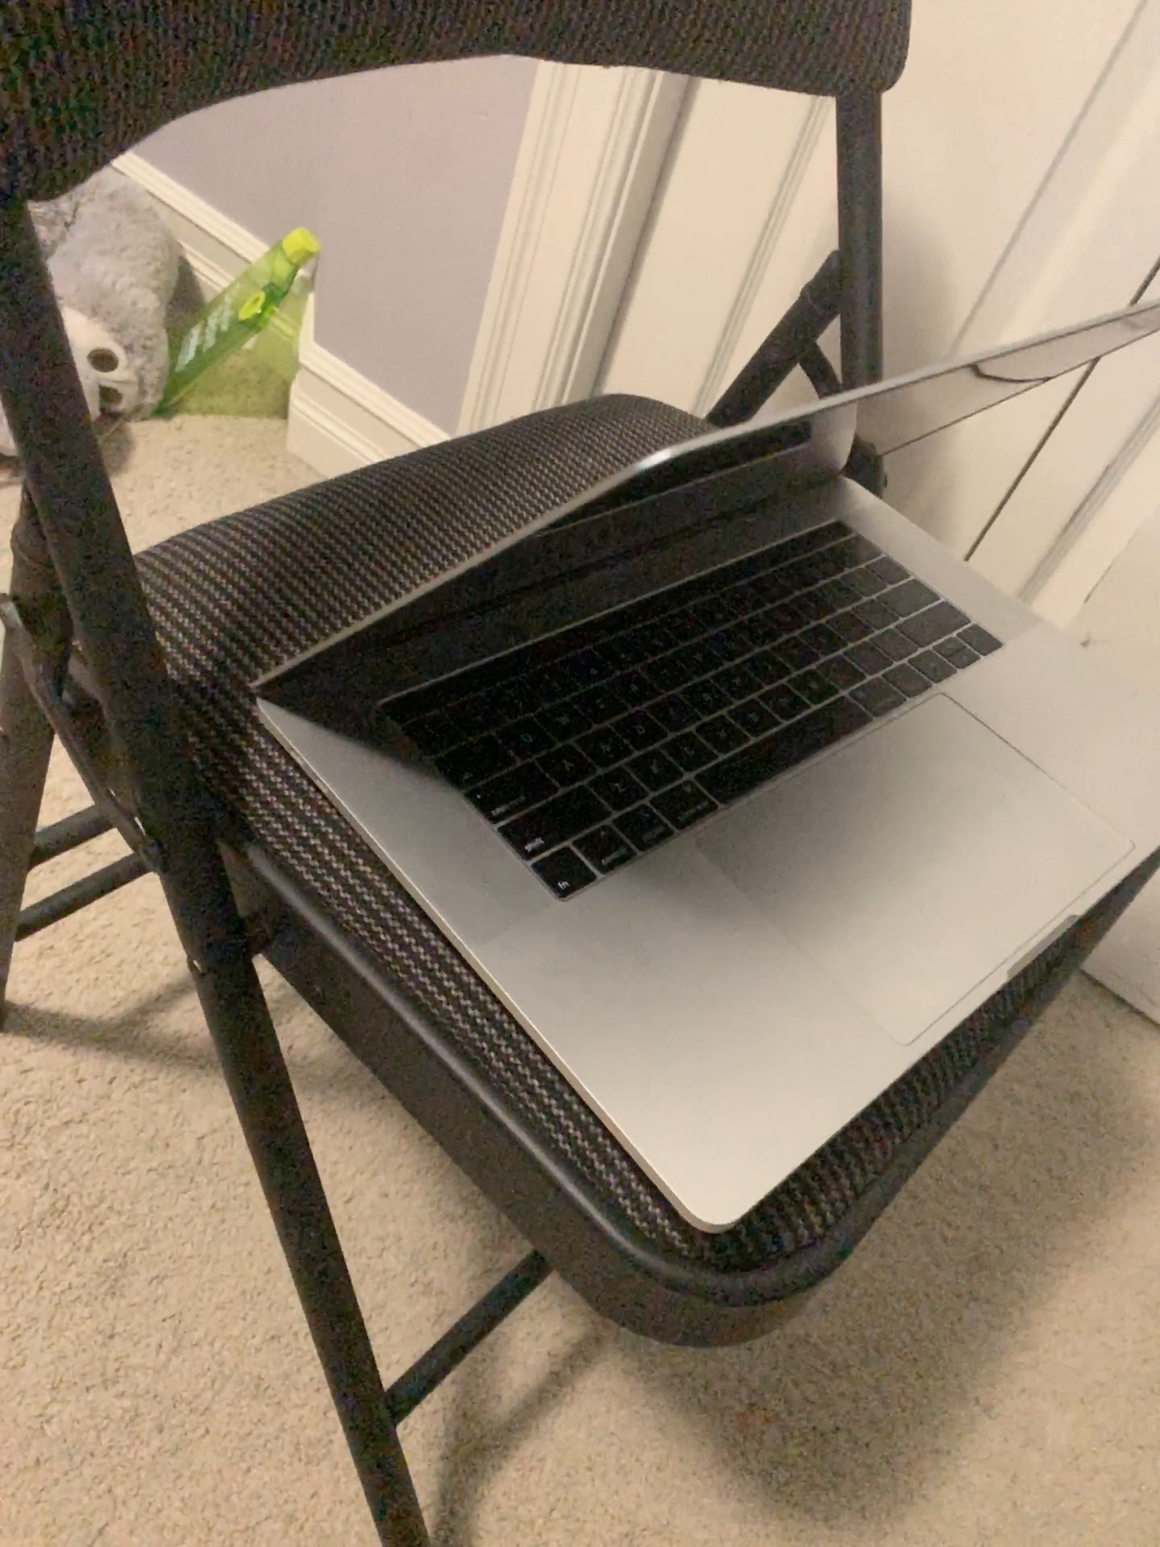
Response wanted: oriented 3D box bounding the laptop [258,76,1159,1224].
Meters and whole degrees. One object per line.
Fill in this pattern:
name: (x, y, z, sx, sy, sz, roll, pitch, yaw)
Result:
laptop: (0.109, -0.077, 0.393, 0.335, 0.189, 0.231, -27, 61, -35)
